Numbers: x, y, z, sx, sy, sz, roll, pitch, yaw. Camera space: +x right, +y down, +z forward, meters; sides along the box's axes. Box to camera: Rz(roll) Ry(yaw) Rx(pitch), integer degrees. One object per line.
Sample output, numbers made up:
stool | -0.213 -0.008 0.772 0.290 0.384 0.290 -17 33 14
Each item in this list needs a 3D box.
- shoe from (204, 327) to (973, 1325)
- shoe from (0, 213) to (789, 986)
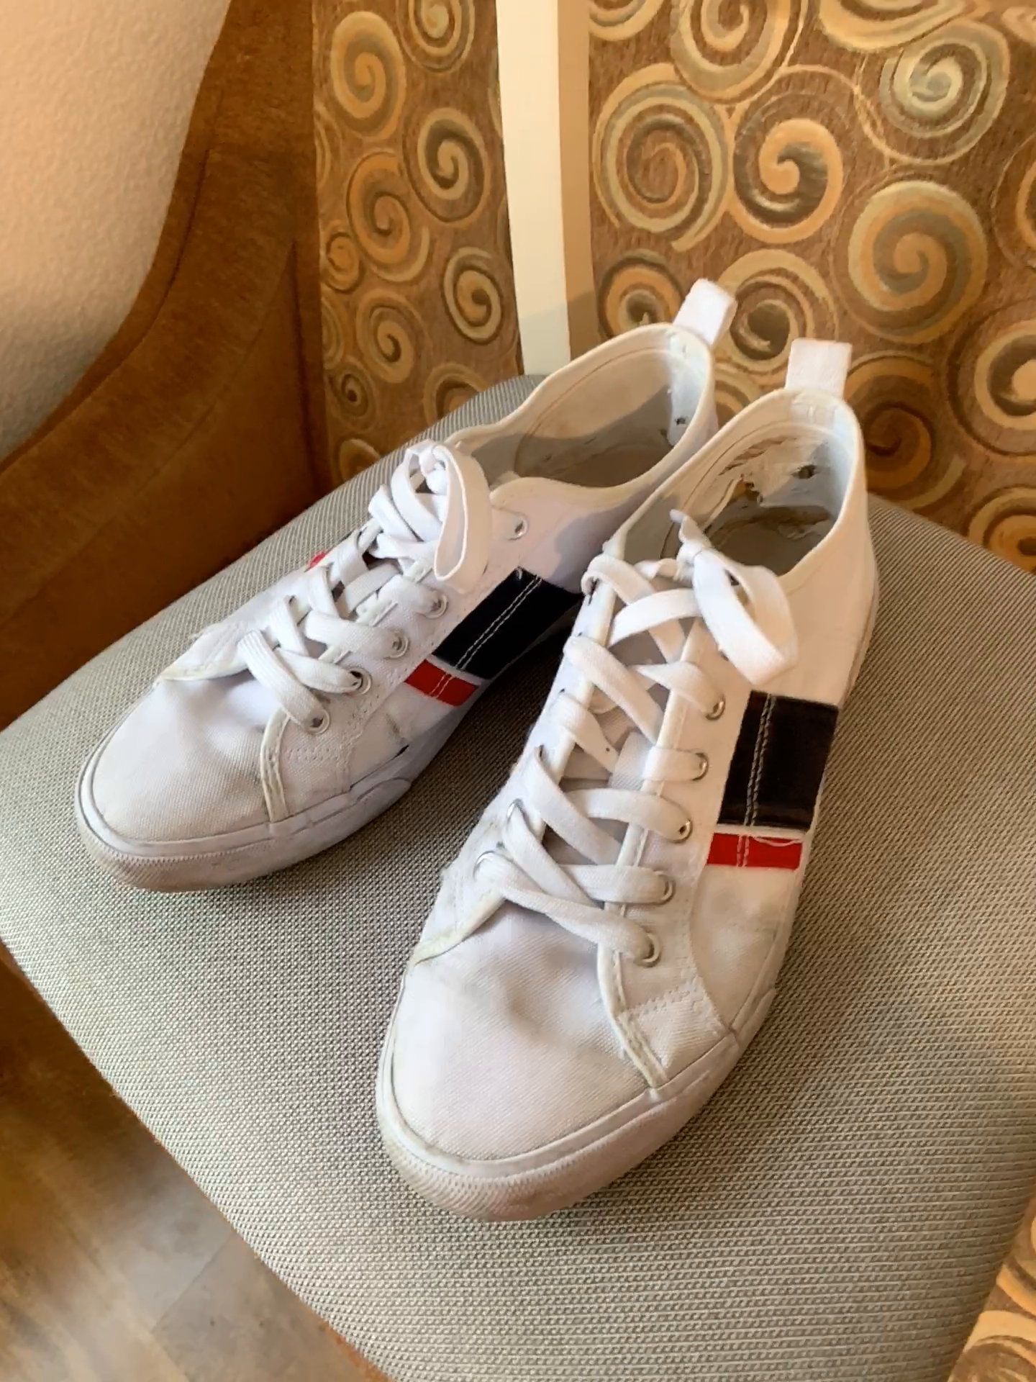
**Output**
shoe | 0.039 0.024 0.327 0.110 0.090 0.270 18 64 20
shoe | -0.049 -0.041 0.390 0.280 0.090 0.120 -37 60 -12
